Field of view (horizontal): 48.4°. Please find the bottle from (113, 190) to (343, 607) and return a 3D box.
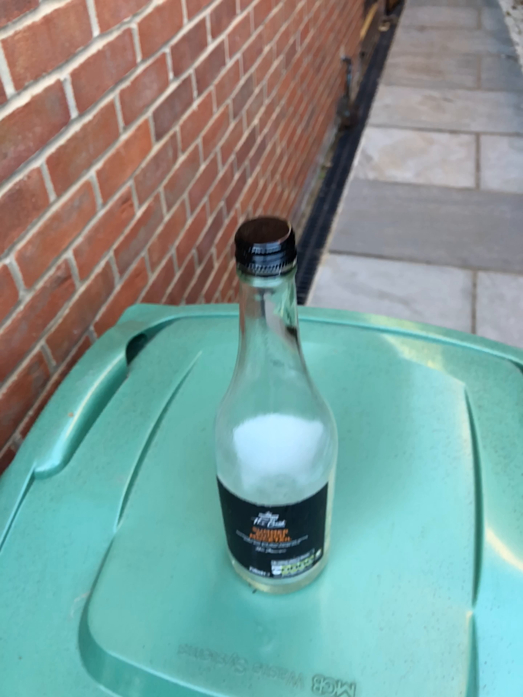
[{"bbox_3d":[-0.004,0.054,0.356,0.090,0.288,0.081,3,44,6],"label":"bottle"}]
